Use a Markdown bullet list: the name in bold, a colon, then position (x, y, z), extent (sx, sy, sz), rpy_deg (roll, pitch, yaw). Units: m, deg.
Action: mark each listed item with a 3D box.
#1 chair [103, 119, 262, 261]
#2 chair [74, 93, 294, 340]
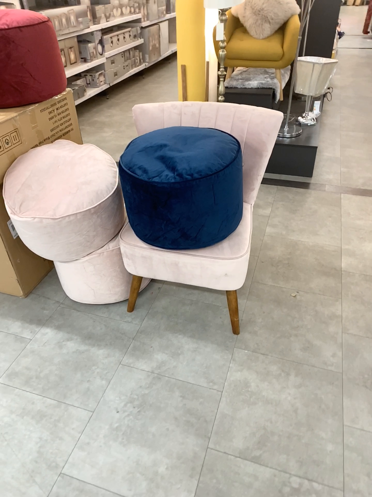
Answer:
- **chair**: position (0.018, -0.271, 1.569), extent (0.495, 0.340, 0.497), rpy_deg (9, 37, 15)
- **chair**: position (0.061, -0.193, 1.726), extent (0.691, 0.772, 0.736), rpy_deg (9, 37, 15)
